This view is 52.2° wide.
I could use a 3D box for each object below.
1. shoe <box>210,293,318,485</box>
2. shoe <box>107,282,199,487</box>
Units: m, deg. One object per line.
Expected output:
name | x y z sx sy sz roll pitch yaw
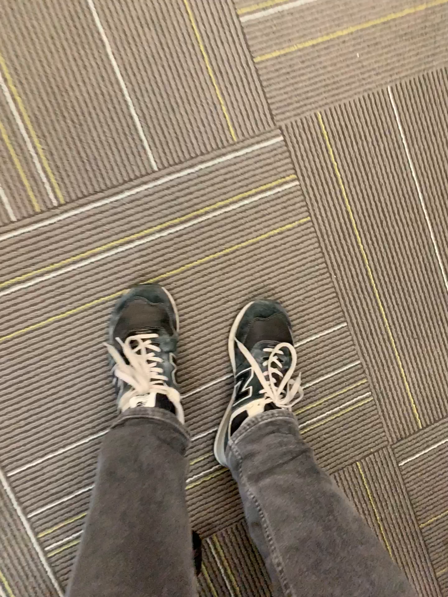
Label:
shoe | 0.062 0.147 0.753 0.119 0.071 0.294 8 93 -13
shoe | -0.111 0.126 0.712 0.121 0.071 0.295 -3 95 -13
